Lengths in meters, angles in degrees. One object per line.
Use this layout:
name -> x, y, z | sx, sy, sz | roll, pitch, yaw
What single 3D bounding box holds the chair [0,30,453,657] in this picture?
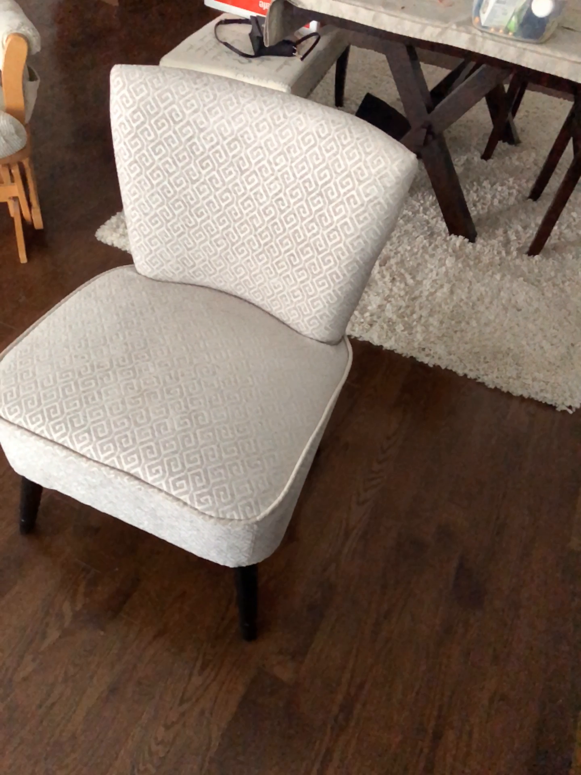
chair -> -0.174, -0.077, 1.190 | 0.600, 0.797, 0.642 | 22, 47, 12
